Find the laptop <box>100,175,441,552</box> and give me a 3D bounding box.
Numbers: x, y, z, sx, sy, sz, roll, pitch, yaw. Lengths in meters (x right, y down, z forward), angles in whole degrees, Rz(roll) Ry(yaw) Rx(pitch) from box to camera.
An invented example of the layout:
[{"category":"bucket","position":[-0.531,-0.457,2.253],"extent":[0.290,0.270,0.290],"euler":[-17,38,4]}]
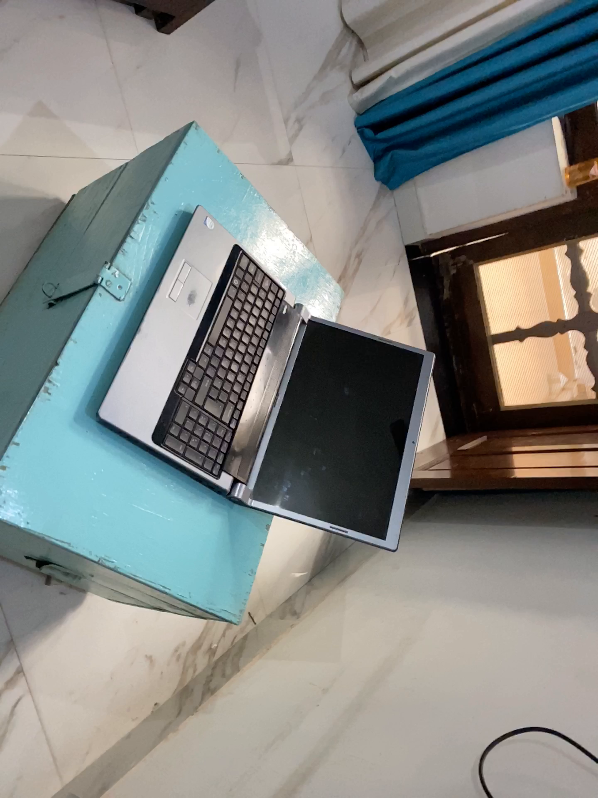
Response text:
[{"category":"laptop","position":[0.004,-0.027,0.982],"extent":[0.480,0.178,0.390],"euler":[40,56,-38]}]
